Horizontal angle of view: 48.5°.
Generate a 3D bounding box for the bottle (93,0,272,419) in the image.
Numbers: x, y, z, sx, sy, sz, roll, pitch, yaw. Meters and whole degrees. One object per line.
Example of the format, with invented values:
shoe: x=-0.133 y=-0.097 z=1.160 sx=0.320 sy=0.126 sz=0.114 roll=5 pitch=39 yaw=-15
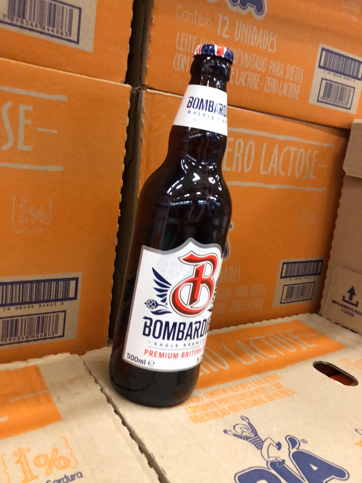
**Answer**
bottle: x=-0.005 y=-0.017 z=0.285 sx=0.070 sy=0.259 sz=0.060 roll=2 pitch=11 yaw=-33
